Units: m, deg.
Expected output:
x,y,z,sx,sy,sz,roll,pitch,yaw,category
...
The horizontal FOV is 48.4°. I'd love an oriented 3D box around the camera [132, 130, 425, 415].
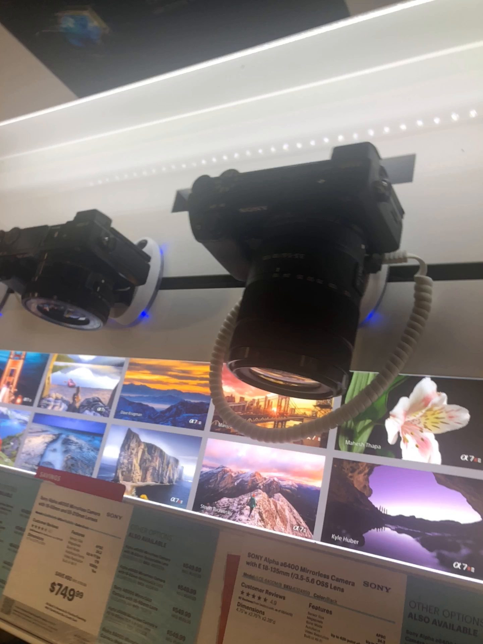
x,y,z,sx,sy,sz,roll,pitch,yaw,category
0.025,-0.026,0.315,0.131,0.070,0.130,3,70,32,camera
